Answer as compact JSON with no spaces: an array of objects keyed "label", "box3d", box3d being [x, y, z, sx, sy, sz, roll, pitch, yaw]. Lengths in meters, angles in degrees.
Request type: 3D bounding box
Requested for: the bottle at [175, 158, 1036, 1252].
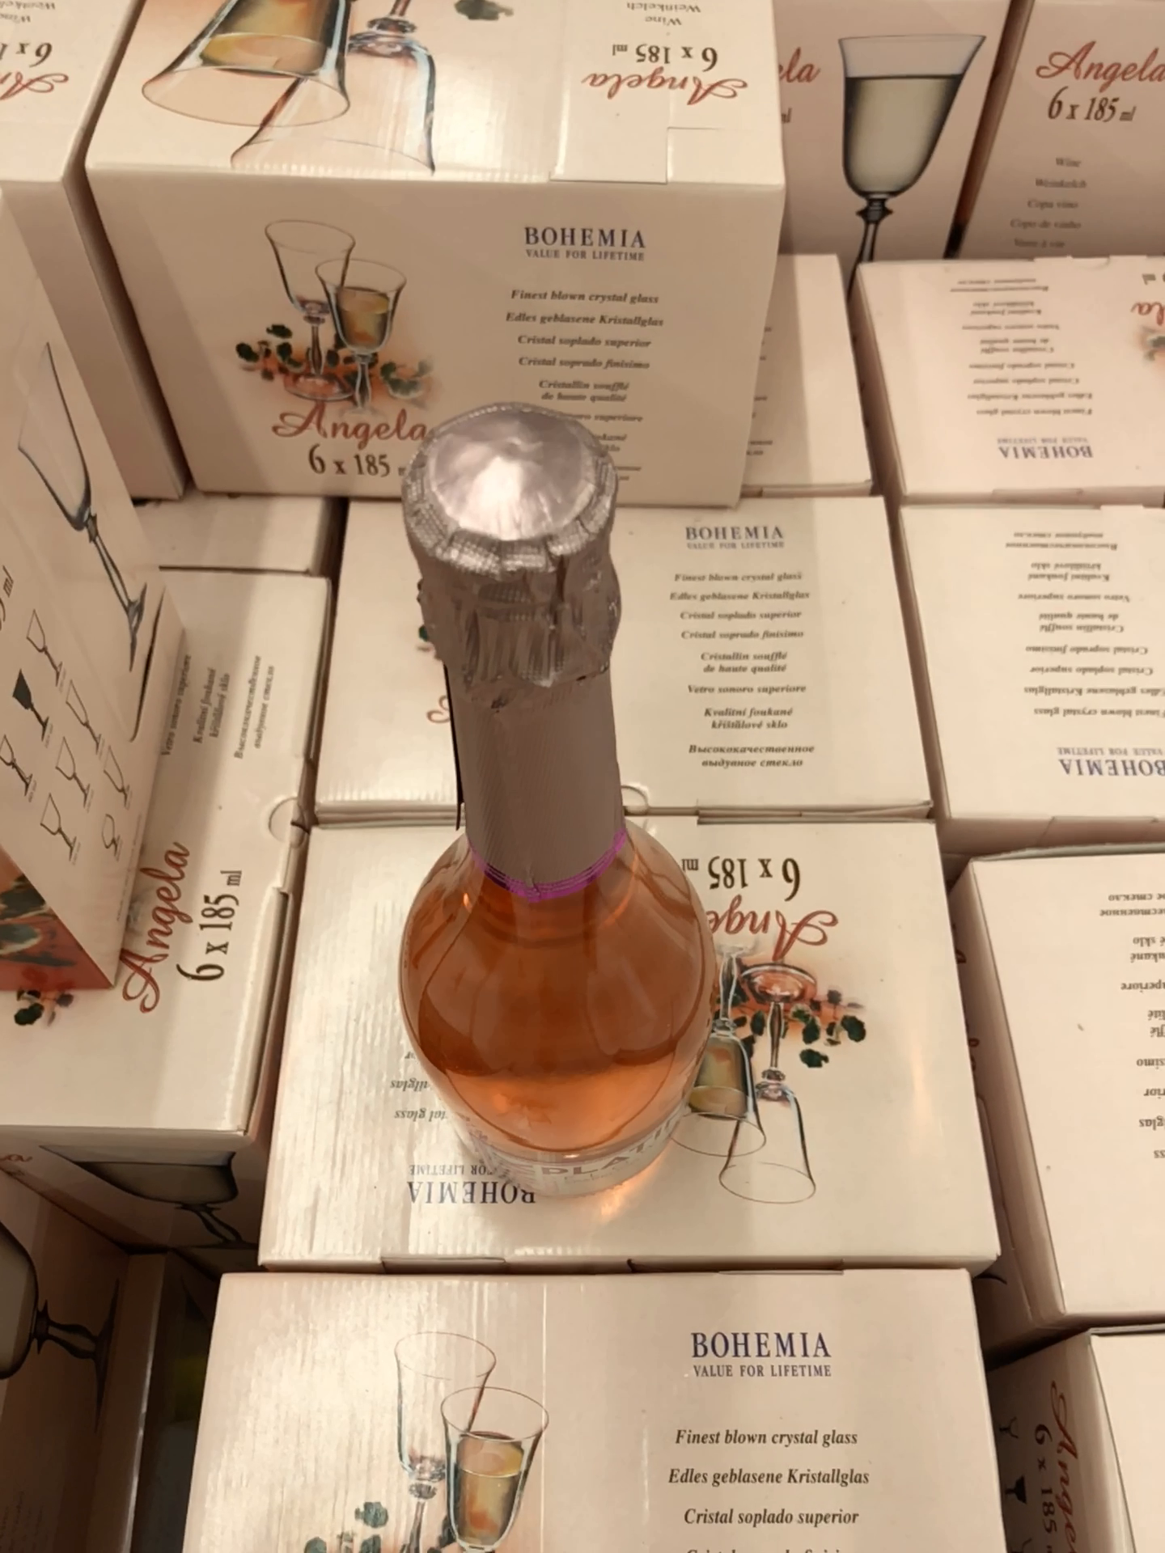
[{"label":"bottle","box3d":[-0.003,0.025,0.326,0.100,0.309,0.100,0,60,0]}]
